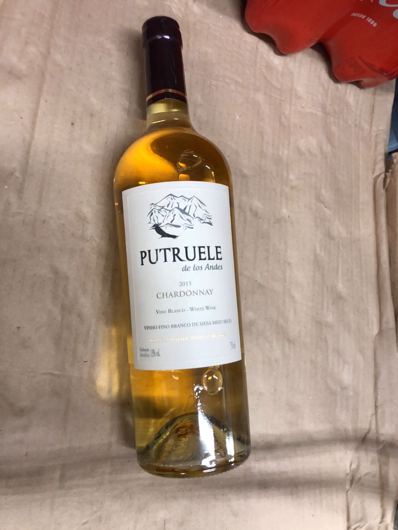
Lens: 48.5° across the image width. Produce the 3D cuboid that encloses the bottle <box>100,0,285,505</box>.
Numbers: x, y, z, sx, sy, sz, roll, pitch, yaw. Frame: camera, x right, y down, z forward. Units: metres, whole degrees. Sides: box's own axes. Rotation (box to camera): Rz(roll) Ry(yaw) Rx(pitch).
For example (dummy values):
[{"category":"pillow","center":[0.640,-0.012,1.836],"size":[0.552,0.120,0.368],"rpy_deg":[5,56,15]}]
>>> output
[{"category":"bottle","center":[-0.010,-0.027,0.277],"size":[0.080,0.070,0.300],"rpy_deg":[-4,83,-6]}]
